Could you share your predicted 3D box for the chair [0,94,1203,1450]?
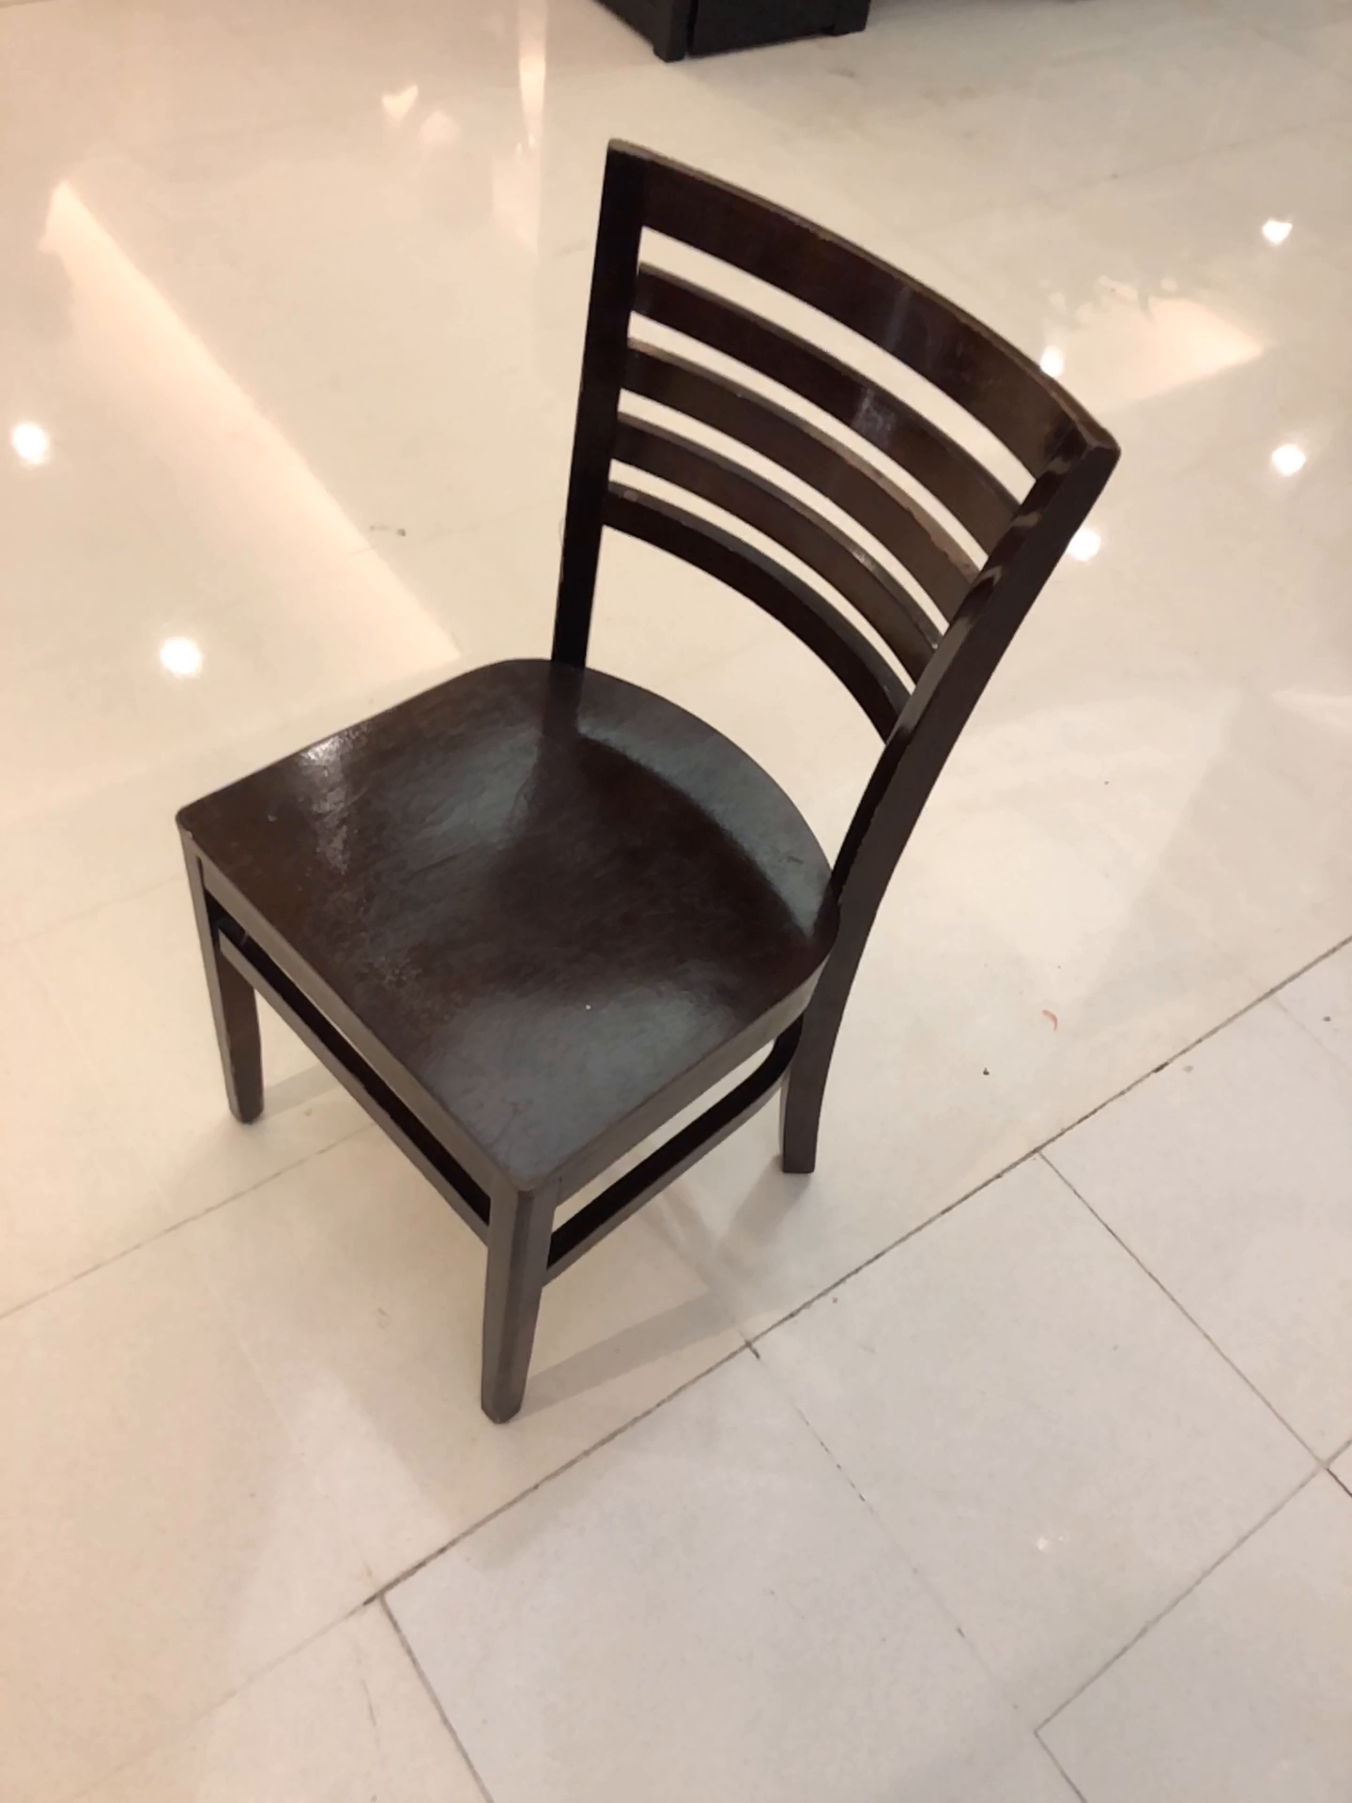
[{"bbox_3d":[-0.081,-0.060,1.188,0.542,0.845,0.461,-32,62,-30],"label":"chair"}]
